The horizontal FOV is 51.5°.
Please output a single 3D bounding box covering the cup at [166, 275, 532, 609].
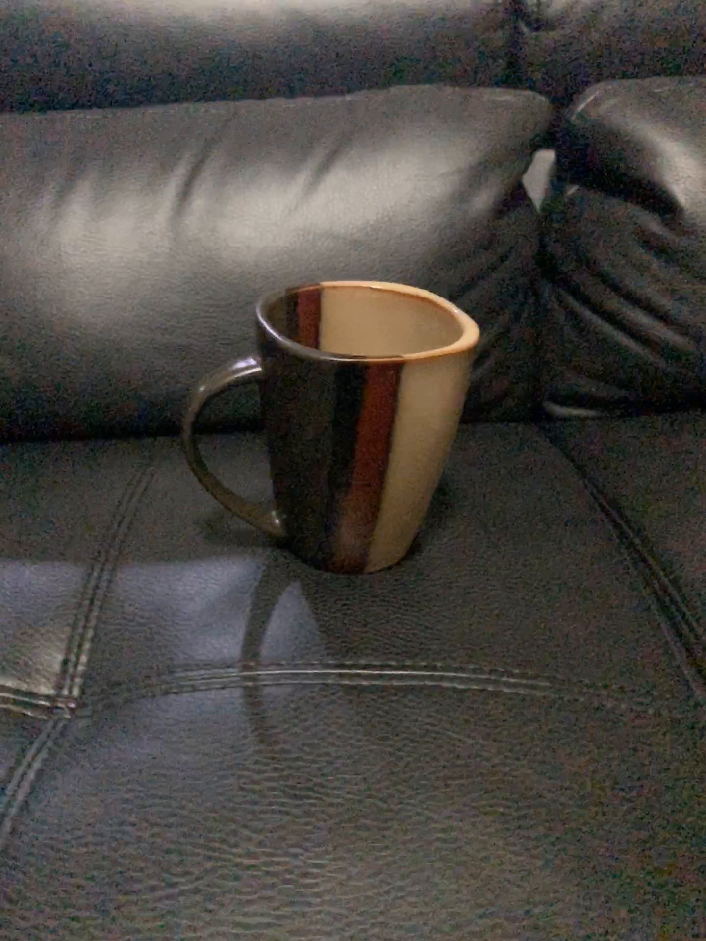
[{"bbox_3d":[-0.010,-0.020,0.346,0.137,0.109,0.098,-6,34,-15],"label":"cup"}]
